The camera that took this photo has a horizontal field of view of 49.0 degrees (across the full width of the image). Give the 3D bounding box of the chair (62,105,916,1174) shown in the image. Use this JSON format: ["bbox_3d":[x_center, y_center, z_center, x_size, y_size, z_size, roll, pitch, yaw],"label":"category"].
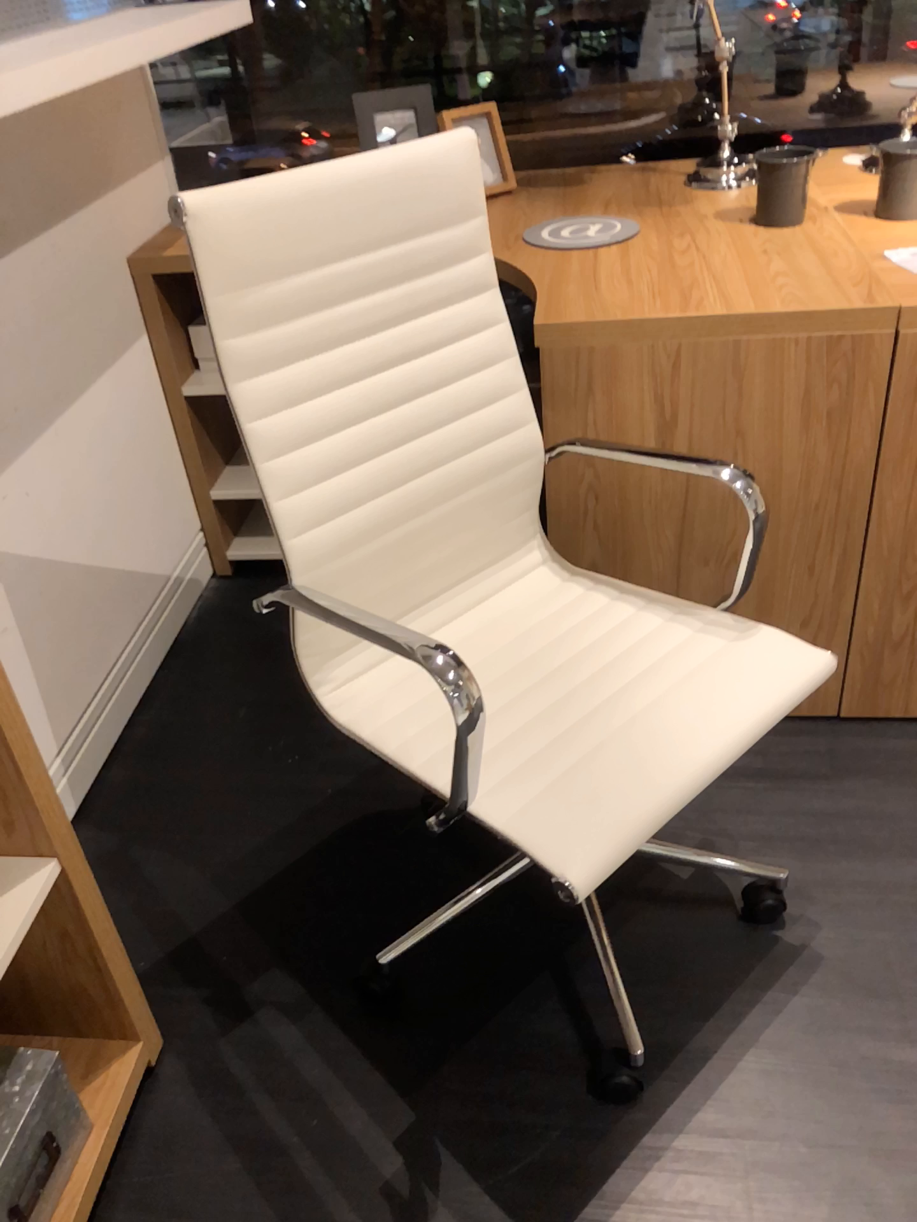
[{"bbox_3d":[0.087,-0.011,1.271,0.632,1.012,0.633,-31,41,-32],"label":"chair"}]
